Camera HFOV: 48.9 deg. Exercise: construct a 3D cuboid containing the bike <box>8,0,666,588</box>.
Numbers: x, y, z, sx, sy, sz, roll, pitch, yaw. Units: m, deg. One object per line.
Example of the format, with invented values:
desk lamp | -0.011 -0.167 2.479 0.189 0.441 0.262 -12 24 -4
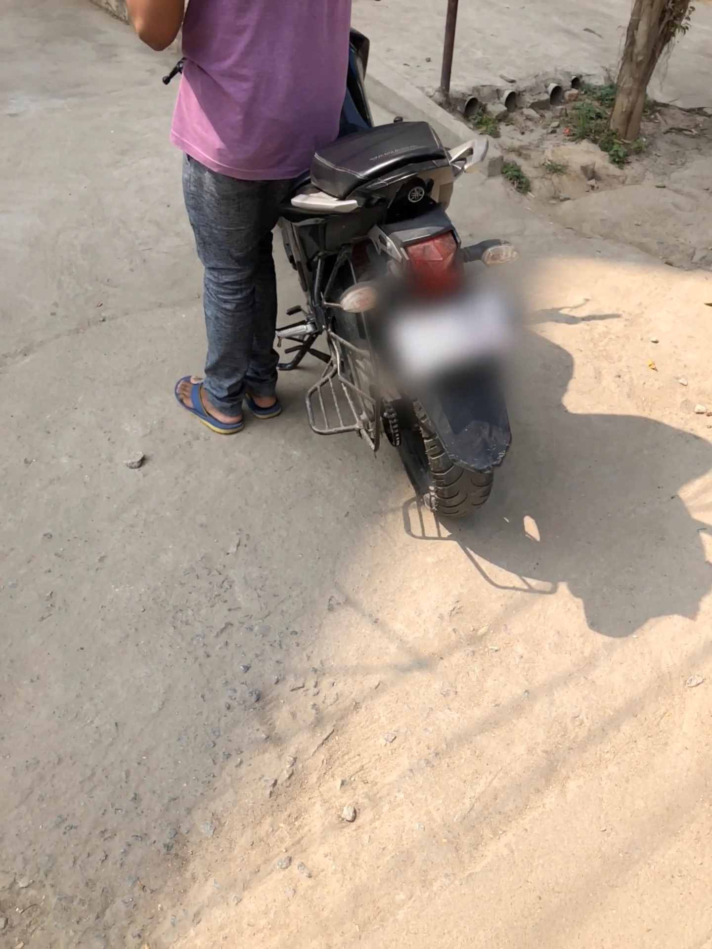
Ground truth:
bike | -0.250 -0.740 1.882 0.685 0.959 1.693 -14 47 -19
